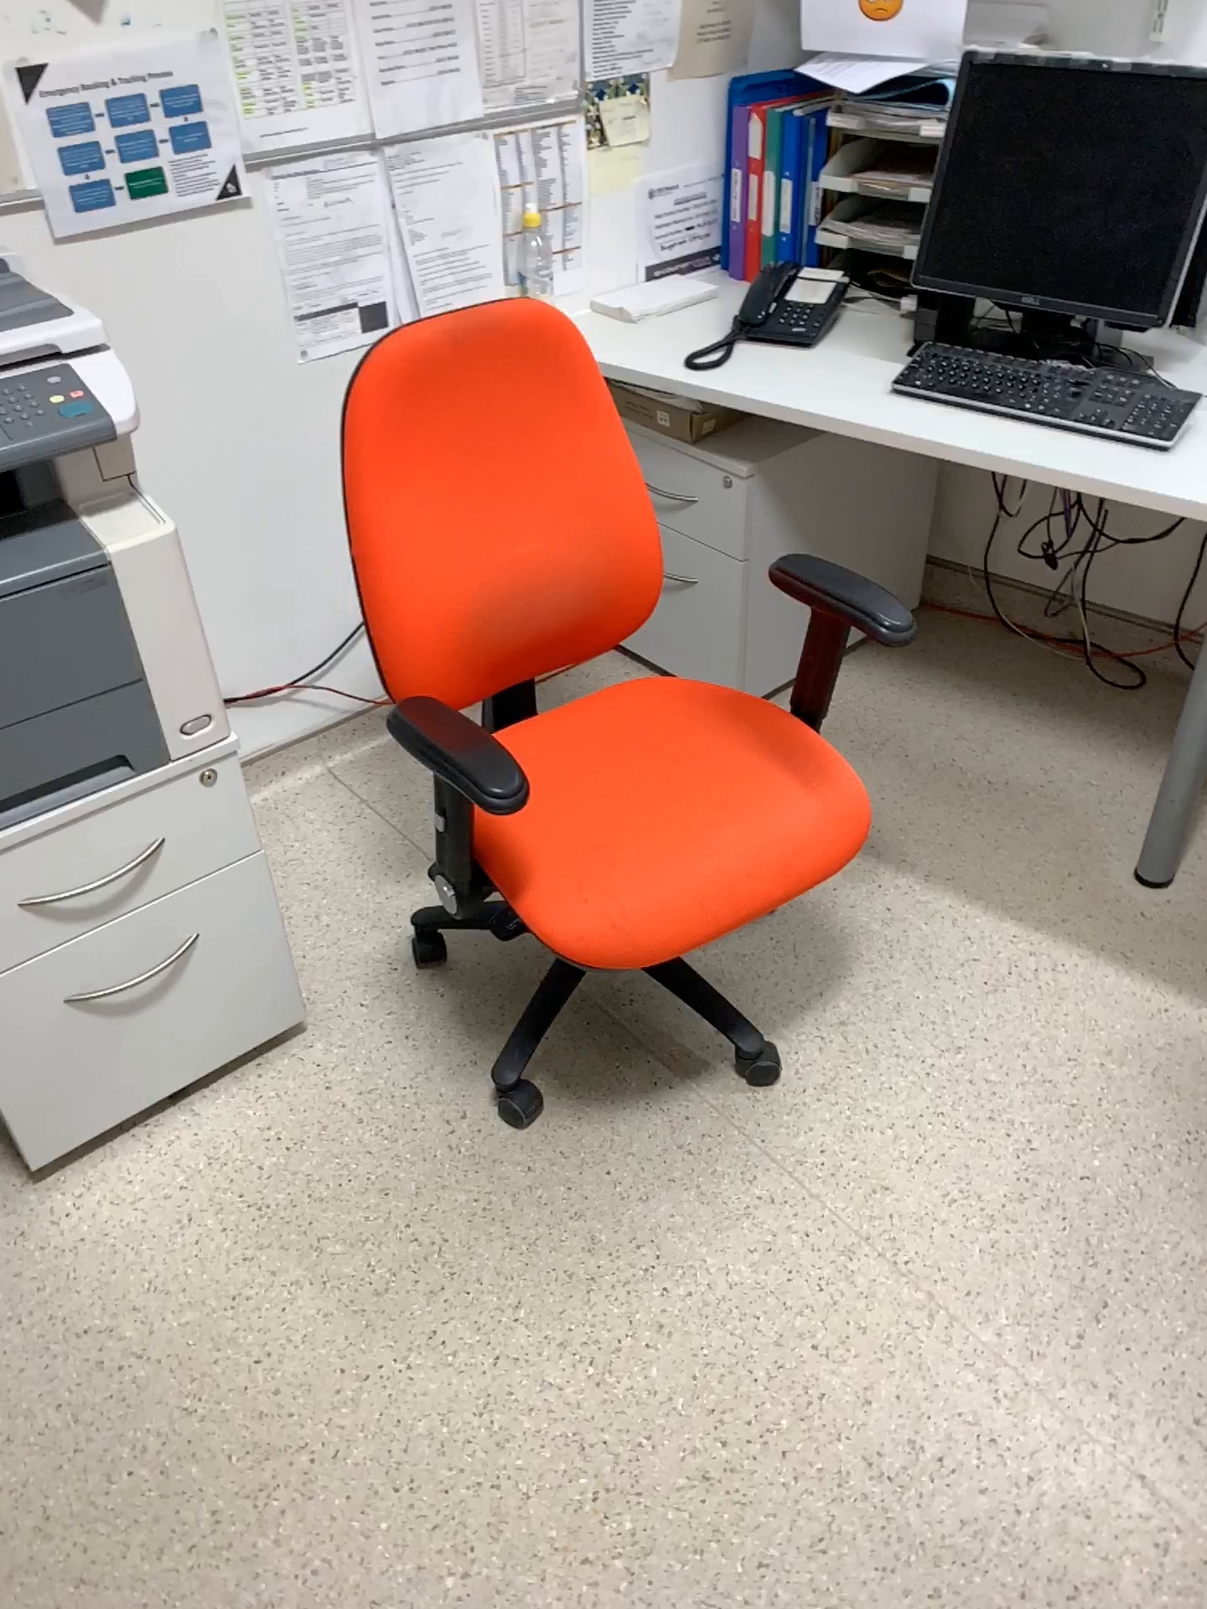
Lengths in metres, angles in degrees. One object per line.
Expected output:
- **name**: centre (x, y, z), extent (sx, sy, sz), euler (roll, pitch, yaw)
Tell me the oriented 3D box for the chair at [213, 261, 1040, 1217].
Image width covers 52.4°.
- **chair**: centre (0.005, -0.124, 1.635), extent (0.652, 0.892, 0.689), euler (-22, 42, -24)
